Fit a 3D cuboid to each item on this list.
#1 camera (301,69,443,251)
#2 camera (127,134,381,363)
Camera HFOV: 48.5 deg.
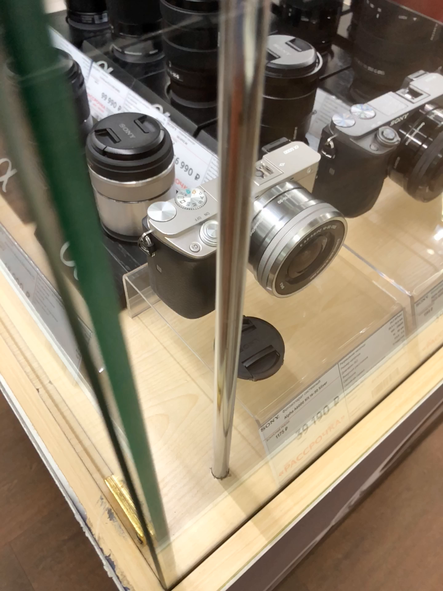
[{"bbox_3d":[0.135,-0.103,0.364,0.127,0.061,0.076,-31,59,-24],"label":"camera"},{"bbox_3d":[0.019,-0.033,0.301,0.124,0.061,0.076,-31,59,-24],"label":"camera"}]
